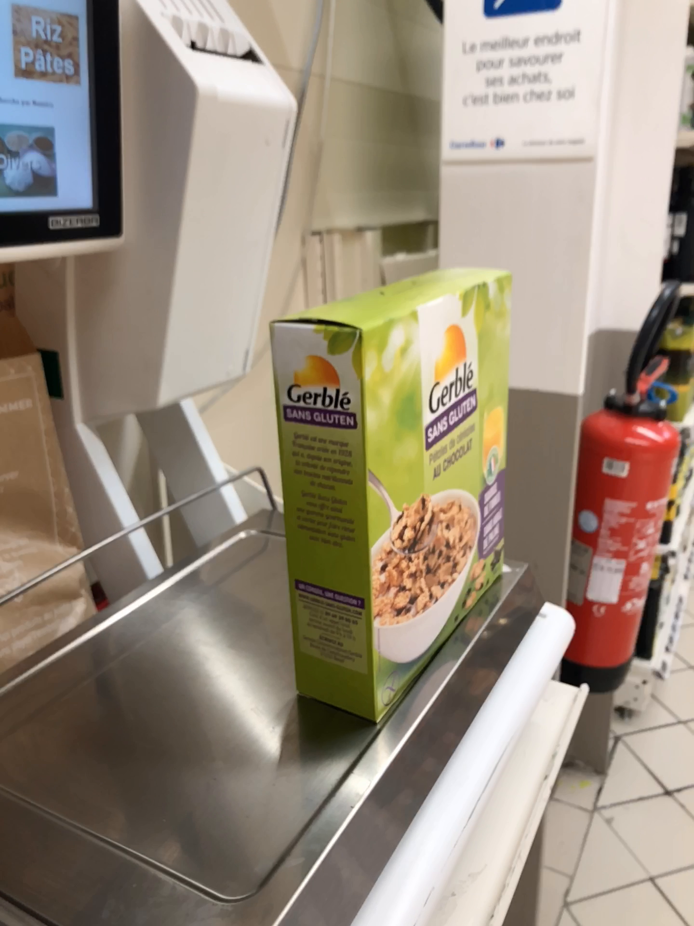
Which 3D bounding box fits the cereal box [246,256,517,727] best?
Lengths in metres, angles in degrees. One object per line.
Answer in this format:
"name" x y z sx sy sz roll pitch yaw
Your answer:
"cereal box" 0.035 0.001 0.468 0.060 0.219 0.201 10 25 30
